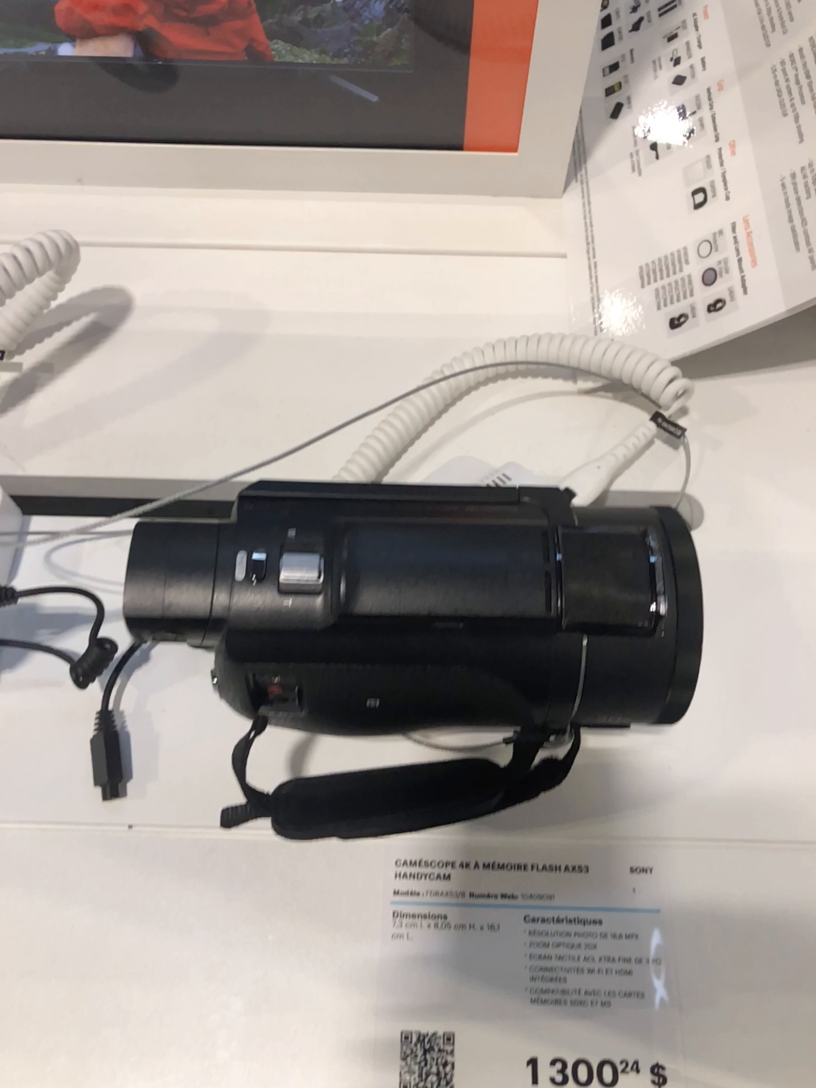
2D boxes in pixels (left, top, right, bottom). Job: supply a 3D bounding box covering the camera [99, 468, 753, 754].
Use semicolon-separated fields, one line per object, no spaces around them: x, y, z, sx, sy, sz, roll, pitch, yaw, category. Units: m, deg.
0.005;0.023;0.276;0.168;0.066;0.061;2;63;0;camera
